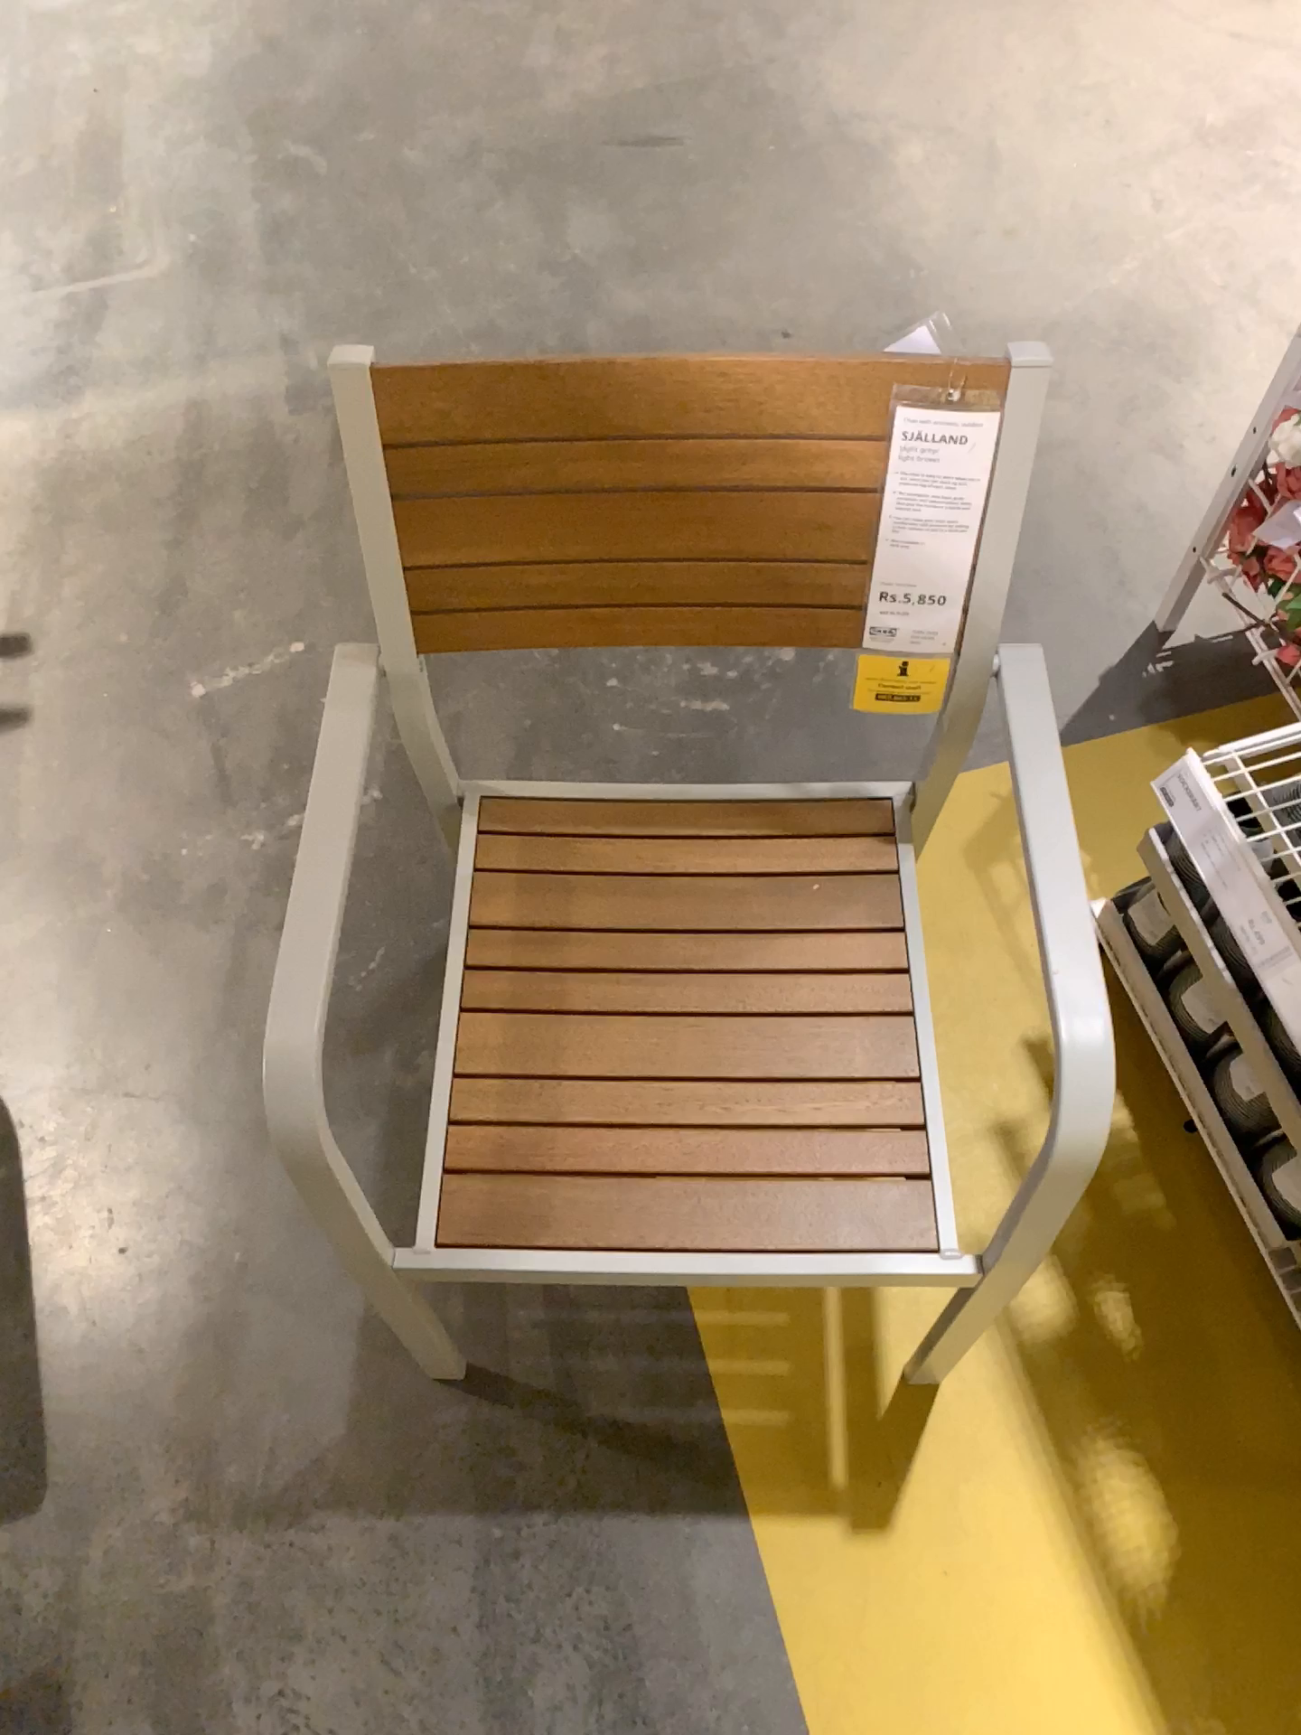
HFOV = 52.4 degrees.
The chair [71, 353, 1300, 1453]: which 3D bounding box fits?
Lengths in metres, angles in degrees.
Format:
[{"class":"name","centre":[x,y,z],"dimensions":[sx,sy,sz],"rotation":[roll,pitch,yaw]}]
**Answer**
[{"class":"chair","centre":[0.039,0.101,1.044],"dimensions":[0.560,0.729,0.601],"rotation":[1,63,2]}]
